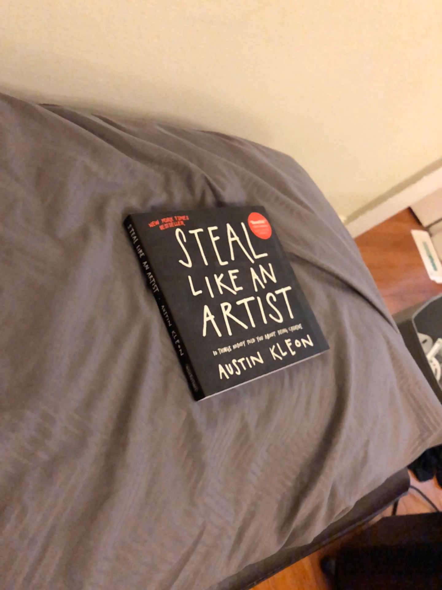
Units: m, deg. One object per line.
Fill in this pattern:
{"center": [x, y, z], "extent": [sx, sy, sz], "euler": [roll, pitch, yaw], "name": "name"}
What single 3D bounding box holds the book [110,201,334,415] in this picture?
{"center": [0.008, -0.003, 0.411], "extent": [0.161, 0.020, 0.160], "euler": [-12, 73, -43], "name": "book"}
